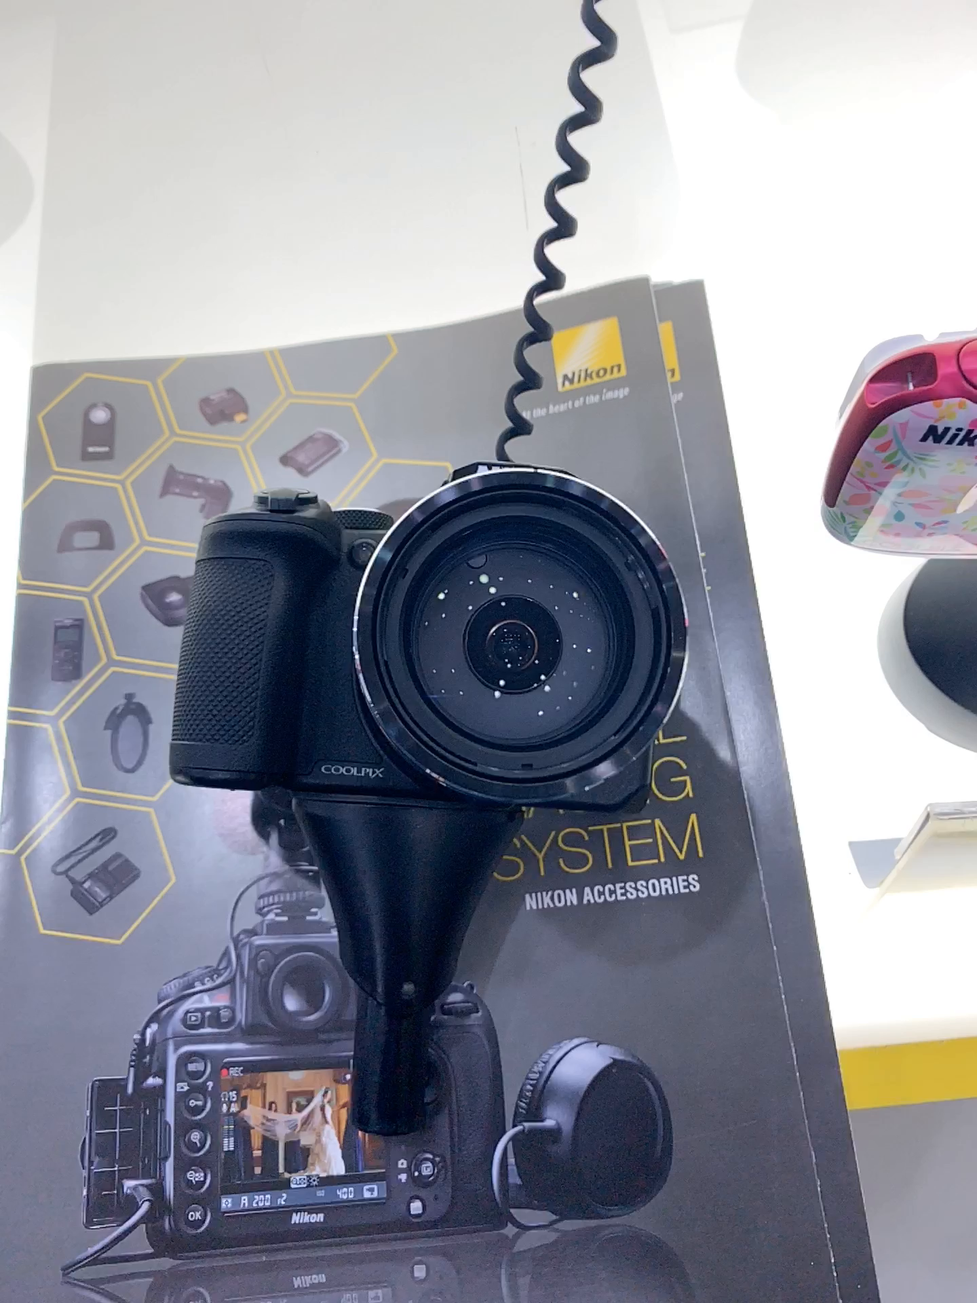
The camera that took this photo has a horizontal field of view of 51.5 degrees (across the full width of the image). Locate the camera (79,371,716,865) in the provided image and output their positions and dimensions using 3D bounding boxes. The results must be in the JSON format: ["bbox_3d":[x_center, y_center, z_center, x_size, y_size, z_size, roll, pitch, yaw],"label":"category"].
[{"bbox_3d":[-0.014,-0.005,0.241,0.120,0.080,0.090,5,84,8],"label":"camera"}]
